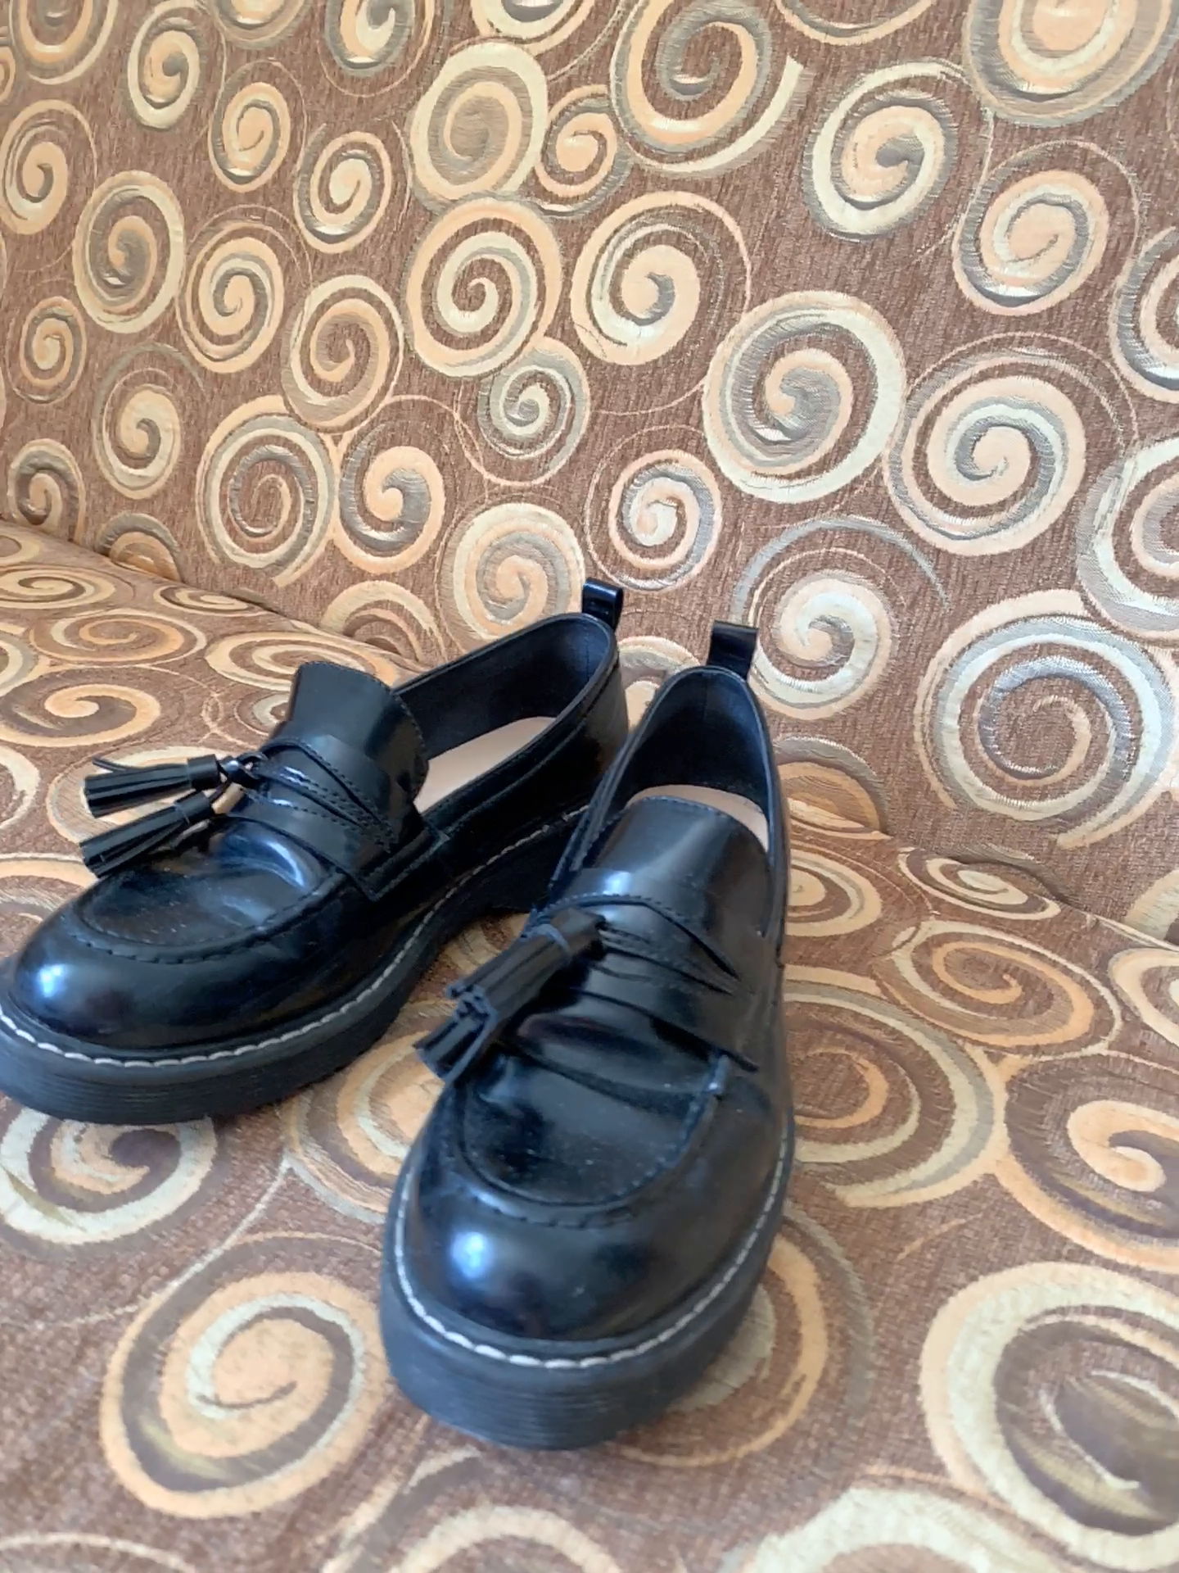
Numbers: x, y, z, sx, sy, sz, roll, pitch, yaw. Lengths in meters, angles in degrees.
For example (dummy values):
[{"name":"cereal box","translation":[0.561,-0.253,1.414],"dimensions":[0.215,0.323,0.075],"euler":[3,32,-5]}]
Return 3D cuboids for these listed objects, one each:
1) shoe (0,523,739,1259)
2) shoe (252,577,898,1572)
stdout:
[{"name":"shoe","translation":[-0.063,0.007,0.364],"dimensions":[0.090,0.099,0.241],"euler":[25,36,30]},{"name":"shoe","translation":[0.017,0.041,0.311],"dimensions":[0.090,0.099,0.241],"euler":[12,32,11]}]
